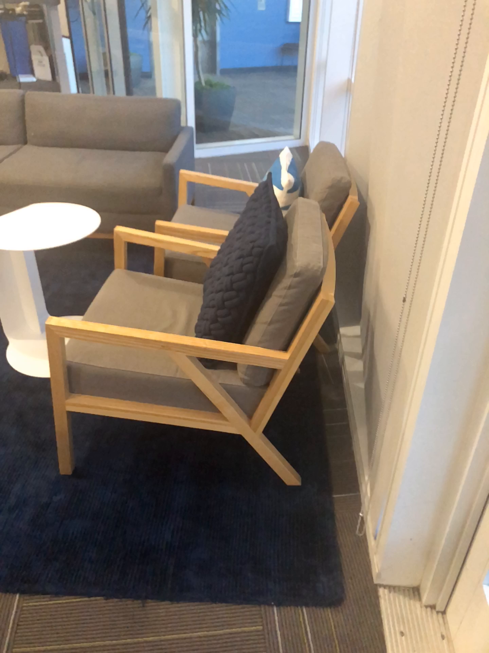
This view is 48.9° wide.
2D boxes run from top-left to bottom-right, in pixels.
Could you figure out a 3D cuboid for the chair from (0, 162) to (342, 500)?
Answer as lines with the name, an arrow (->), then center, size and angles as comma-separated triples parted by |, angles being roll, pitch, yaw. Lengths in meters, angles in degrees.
chair -> -0.179, -0.026, 1.758 | 0.850, 0.773, 0.747 | 3, 33, 3
